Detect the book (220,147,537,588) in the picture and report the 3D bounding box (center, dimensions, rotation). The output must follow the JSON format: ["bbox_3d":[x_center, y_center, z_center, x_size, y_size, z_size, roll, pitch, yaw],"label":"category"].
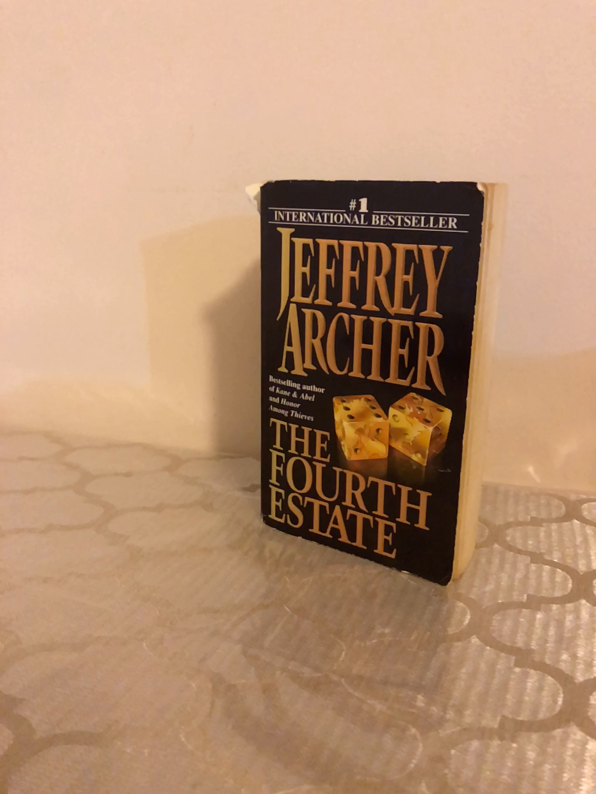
[{"bbox_3d":[0.032,-0.020,0.305,0.120,0.169,0.060,11,18,32],"label":"book"}]
